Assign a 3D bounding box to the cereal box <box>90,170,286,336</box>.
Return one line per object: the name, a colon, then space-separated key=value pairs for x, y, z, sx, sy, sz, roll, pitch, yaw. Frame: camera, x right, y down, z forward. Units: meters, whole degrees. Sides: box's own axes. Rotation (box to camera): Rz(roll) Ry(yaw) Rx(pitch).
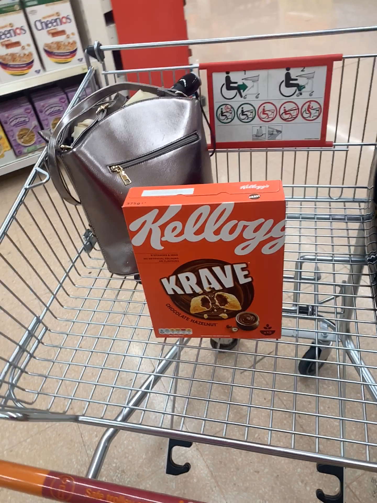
cereal box: x=0.010 y=0.015 z=0.499 sx=0.210 sy=0.228 sz=0.050 roll=-1 pitch=39 yaw=8
